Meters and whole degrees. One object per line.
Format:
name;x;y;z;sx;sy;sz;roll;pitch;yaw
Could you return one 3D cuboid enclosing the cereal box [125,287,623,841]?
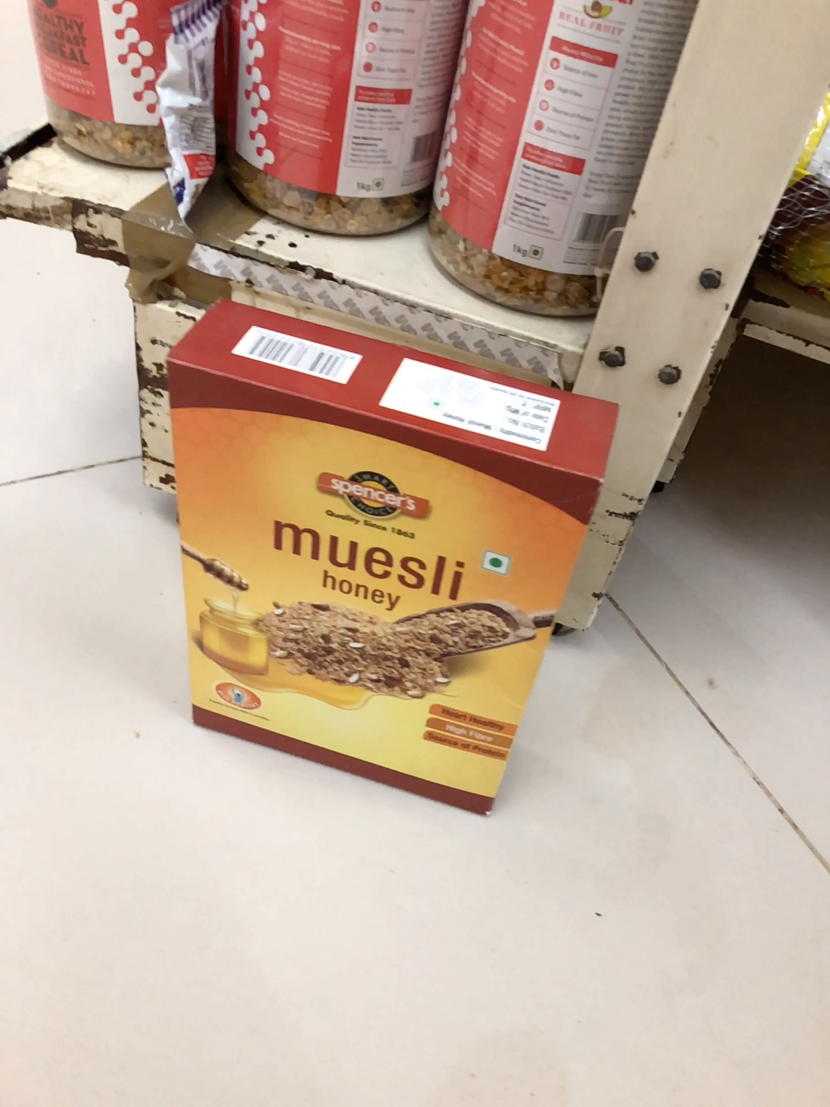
cereal box;-0.029;0.022;0.455;0.190;0.258;0.060;17;45;8
